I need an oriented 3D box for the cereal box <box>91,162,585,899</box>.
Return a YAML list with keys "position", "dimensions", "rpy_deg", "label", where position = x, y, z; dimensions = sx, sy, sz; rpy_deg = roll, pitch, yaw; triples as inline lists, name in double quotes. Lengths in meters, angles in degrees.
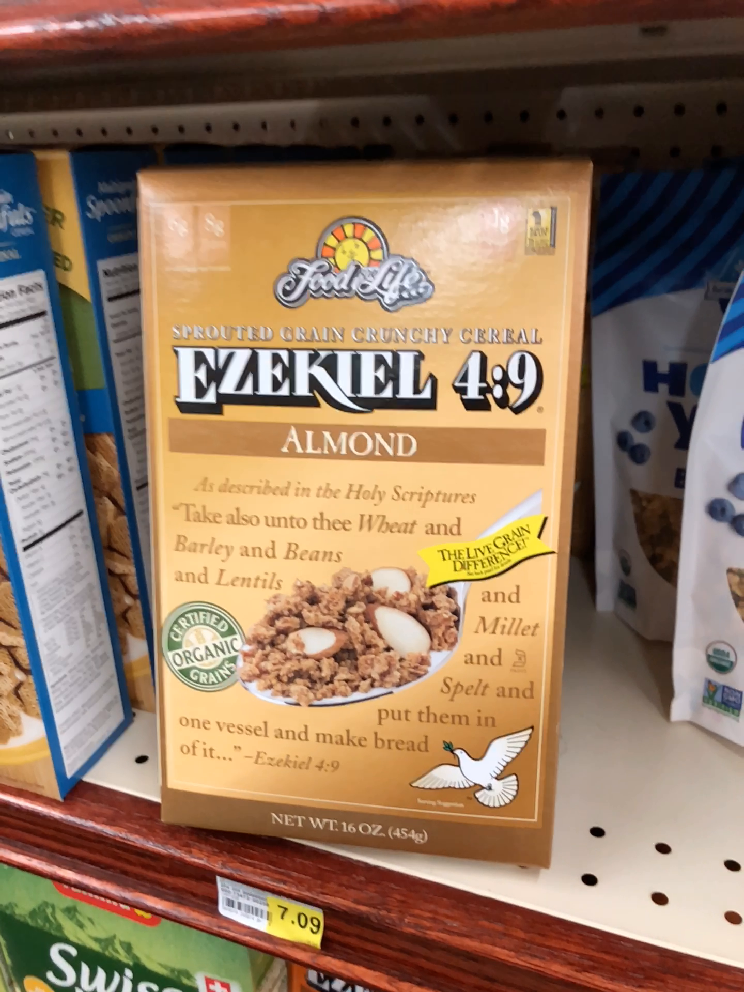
- position: [-0.010, 0.010, 0.281]
  dimensions: [0.140, 0.220, 0.060]
  rpy_deg: [3, 11, 9]
  label: "cereal box"
